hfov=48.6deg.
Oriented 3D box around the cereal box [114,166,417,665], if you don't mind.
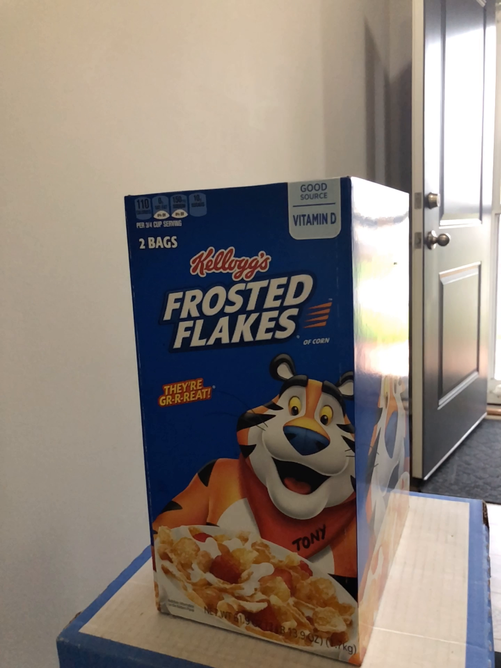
[{"bbox_3d":[0.043,0.036,0.493,0.170,0.319,0.260,1,11,24],"label":"cereal box"}]
